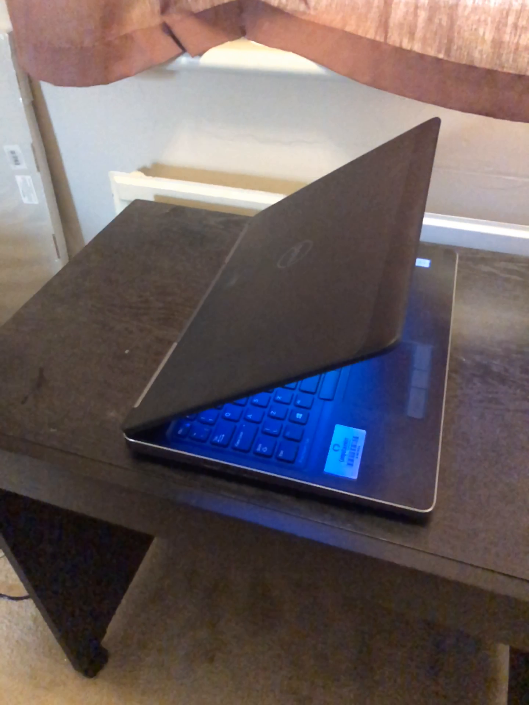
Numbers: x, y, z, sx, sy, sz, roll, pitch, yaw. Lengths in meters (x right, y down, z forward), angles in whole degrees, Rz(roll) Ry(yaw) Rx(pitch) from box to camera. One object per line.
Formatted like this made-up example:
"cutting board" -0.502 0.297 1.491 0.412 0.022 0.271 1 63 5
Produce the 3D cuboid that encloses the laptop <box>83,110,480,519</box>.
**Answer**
"laptop" 0.049 -0.076 0.526 0.243 0.134 0.364 11 43 14
